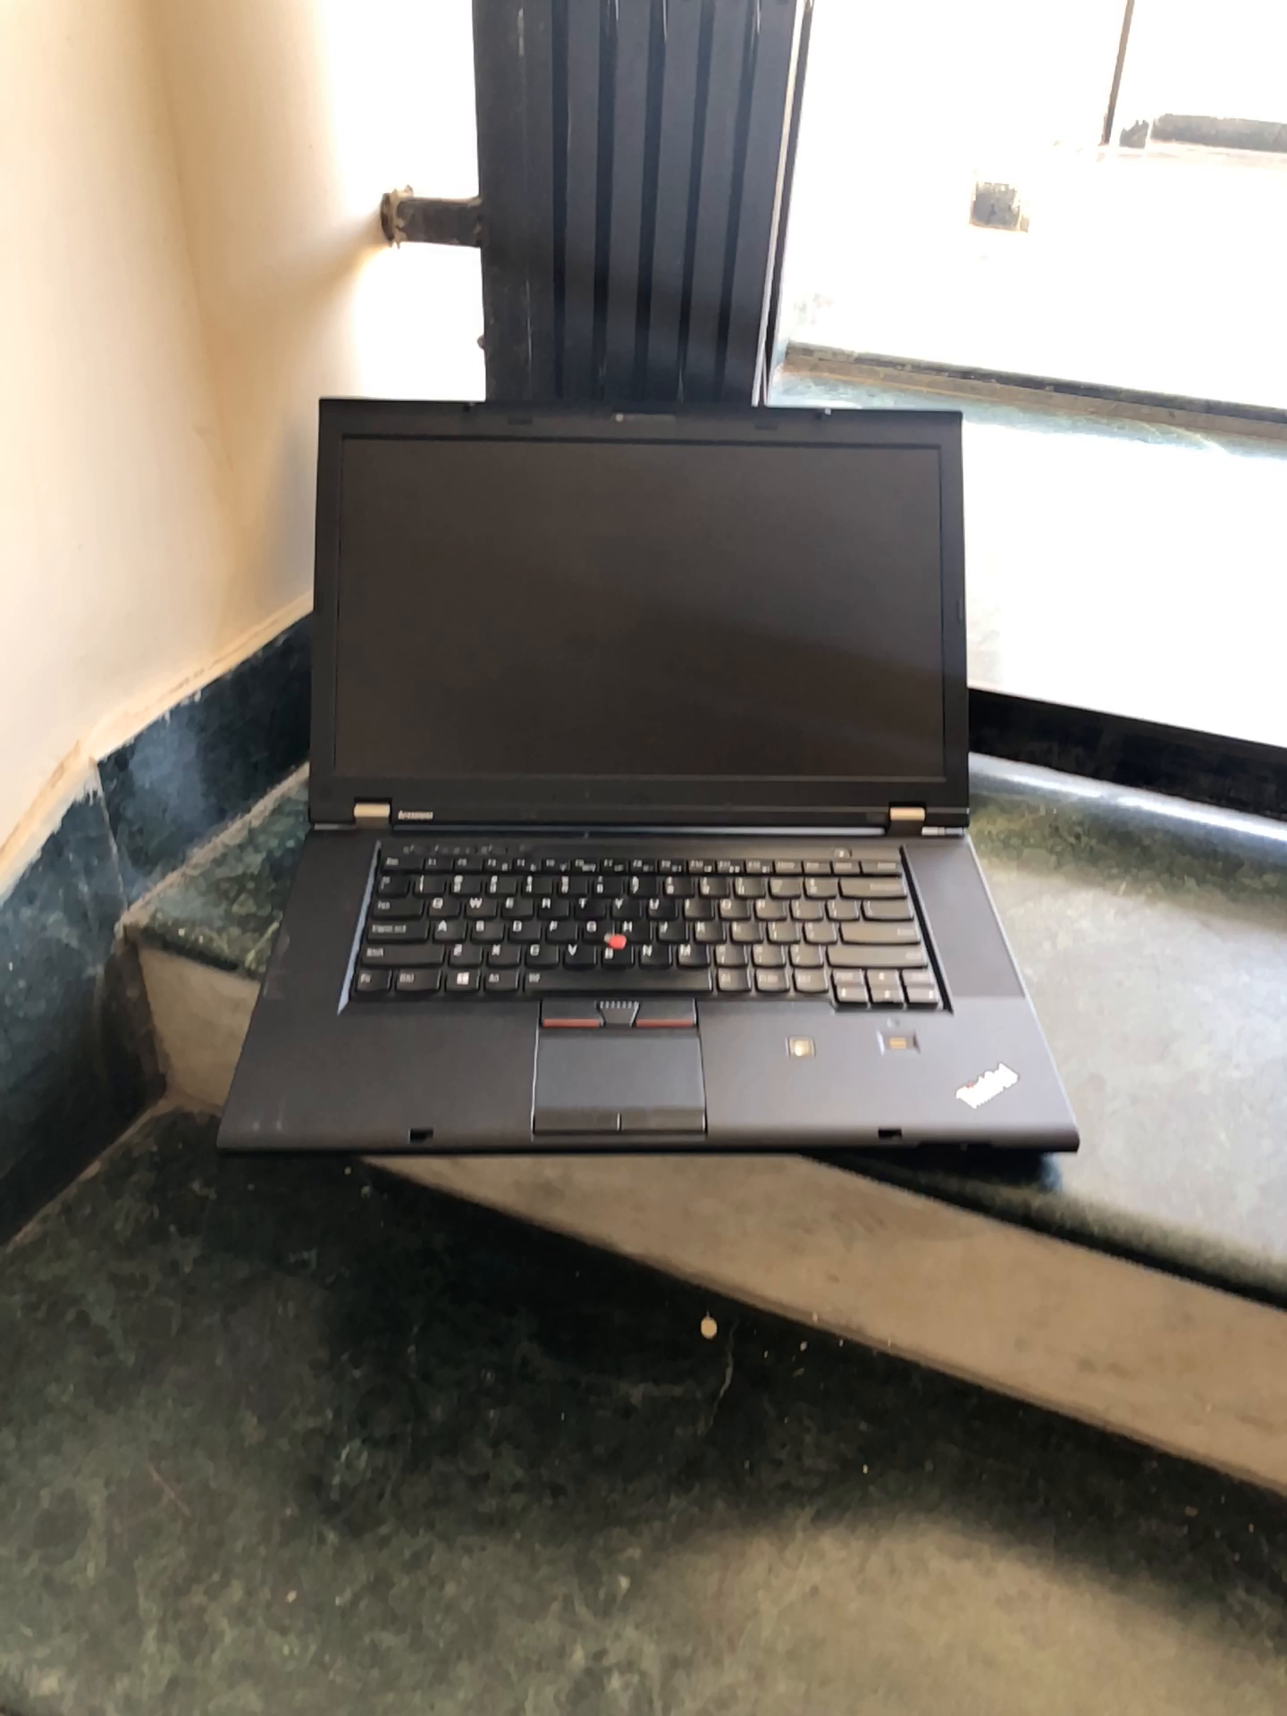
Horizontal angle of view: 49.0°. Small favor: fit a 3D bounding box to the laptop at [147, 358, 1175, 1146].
[{"bbox_3d":[0.001,-0.079,0.693,0.359,0.181,0.390,1,37,-2],"label":"laptop"}]
